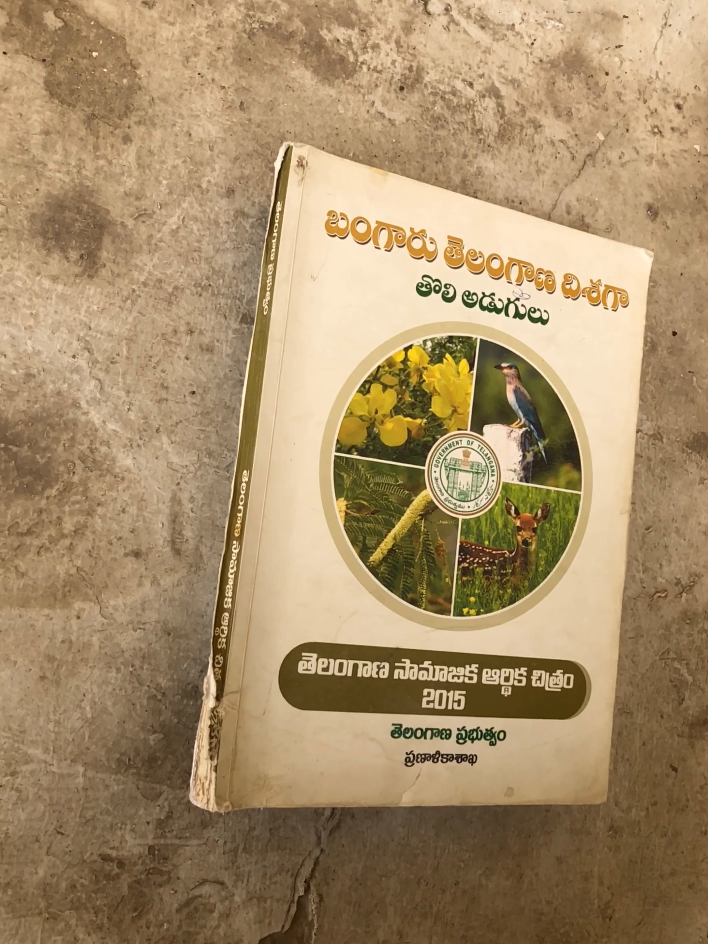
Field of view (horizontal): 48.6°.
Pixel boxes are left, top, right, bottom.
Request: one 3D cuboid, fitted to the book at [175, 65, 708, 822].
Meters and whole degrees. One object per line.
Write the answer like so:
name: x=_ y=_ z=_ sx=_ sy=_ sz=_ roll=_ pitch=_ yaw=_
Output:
book: x=0.052 y=-0.001 z=0.362 sx=0.220 sy=0.060 sz=0.290 roll=9 pitch=84 yaw=-20
